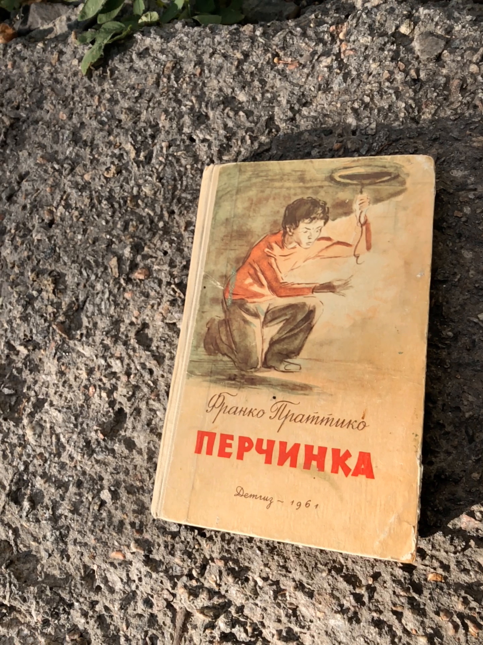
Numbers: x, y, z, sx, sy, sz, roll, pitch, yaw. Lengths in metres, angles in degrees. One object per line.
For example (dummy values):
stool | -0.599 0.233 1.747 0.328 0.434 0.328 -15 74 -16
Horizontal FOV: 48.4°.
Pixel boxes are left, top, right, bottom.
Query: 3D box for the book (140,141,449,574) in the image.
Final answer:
book | 0.031 0.006 0.280 0.132 0.030 0.203 4 76 17
